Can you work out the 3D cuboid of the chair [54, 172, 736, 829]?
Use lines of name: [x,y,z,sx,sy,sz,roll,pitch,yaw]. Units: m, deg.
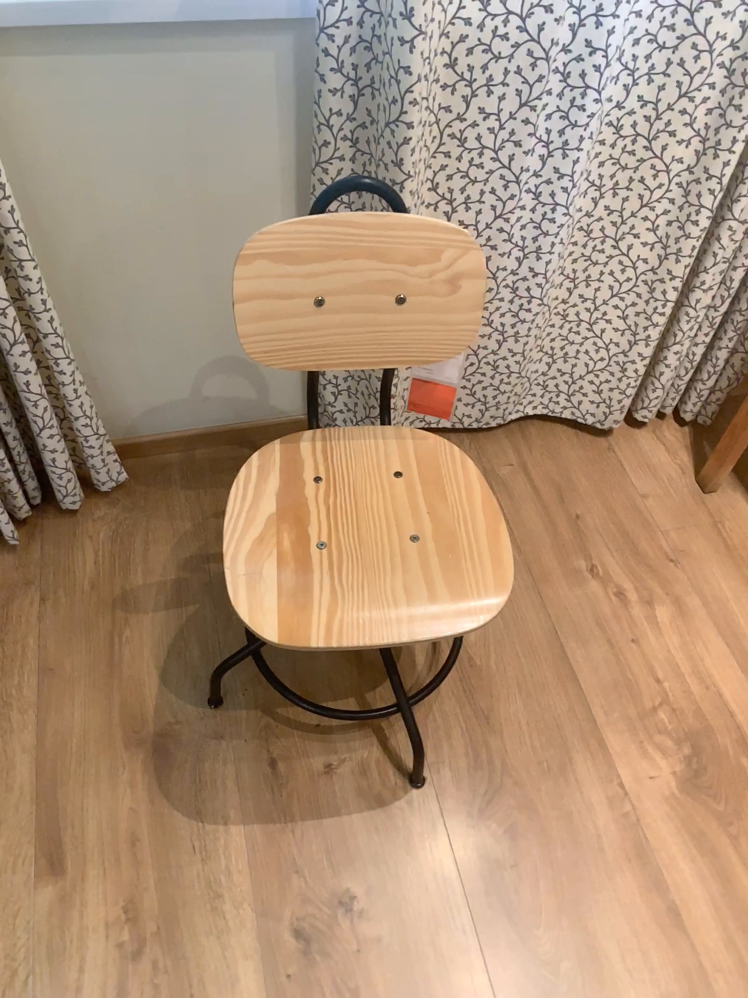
chair: [-0.021,0.015,1.062,0.560,0.648,0.622,-3,52,-7]
